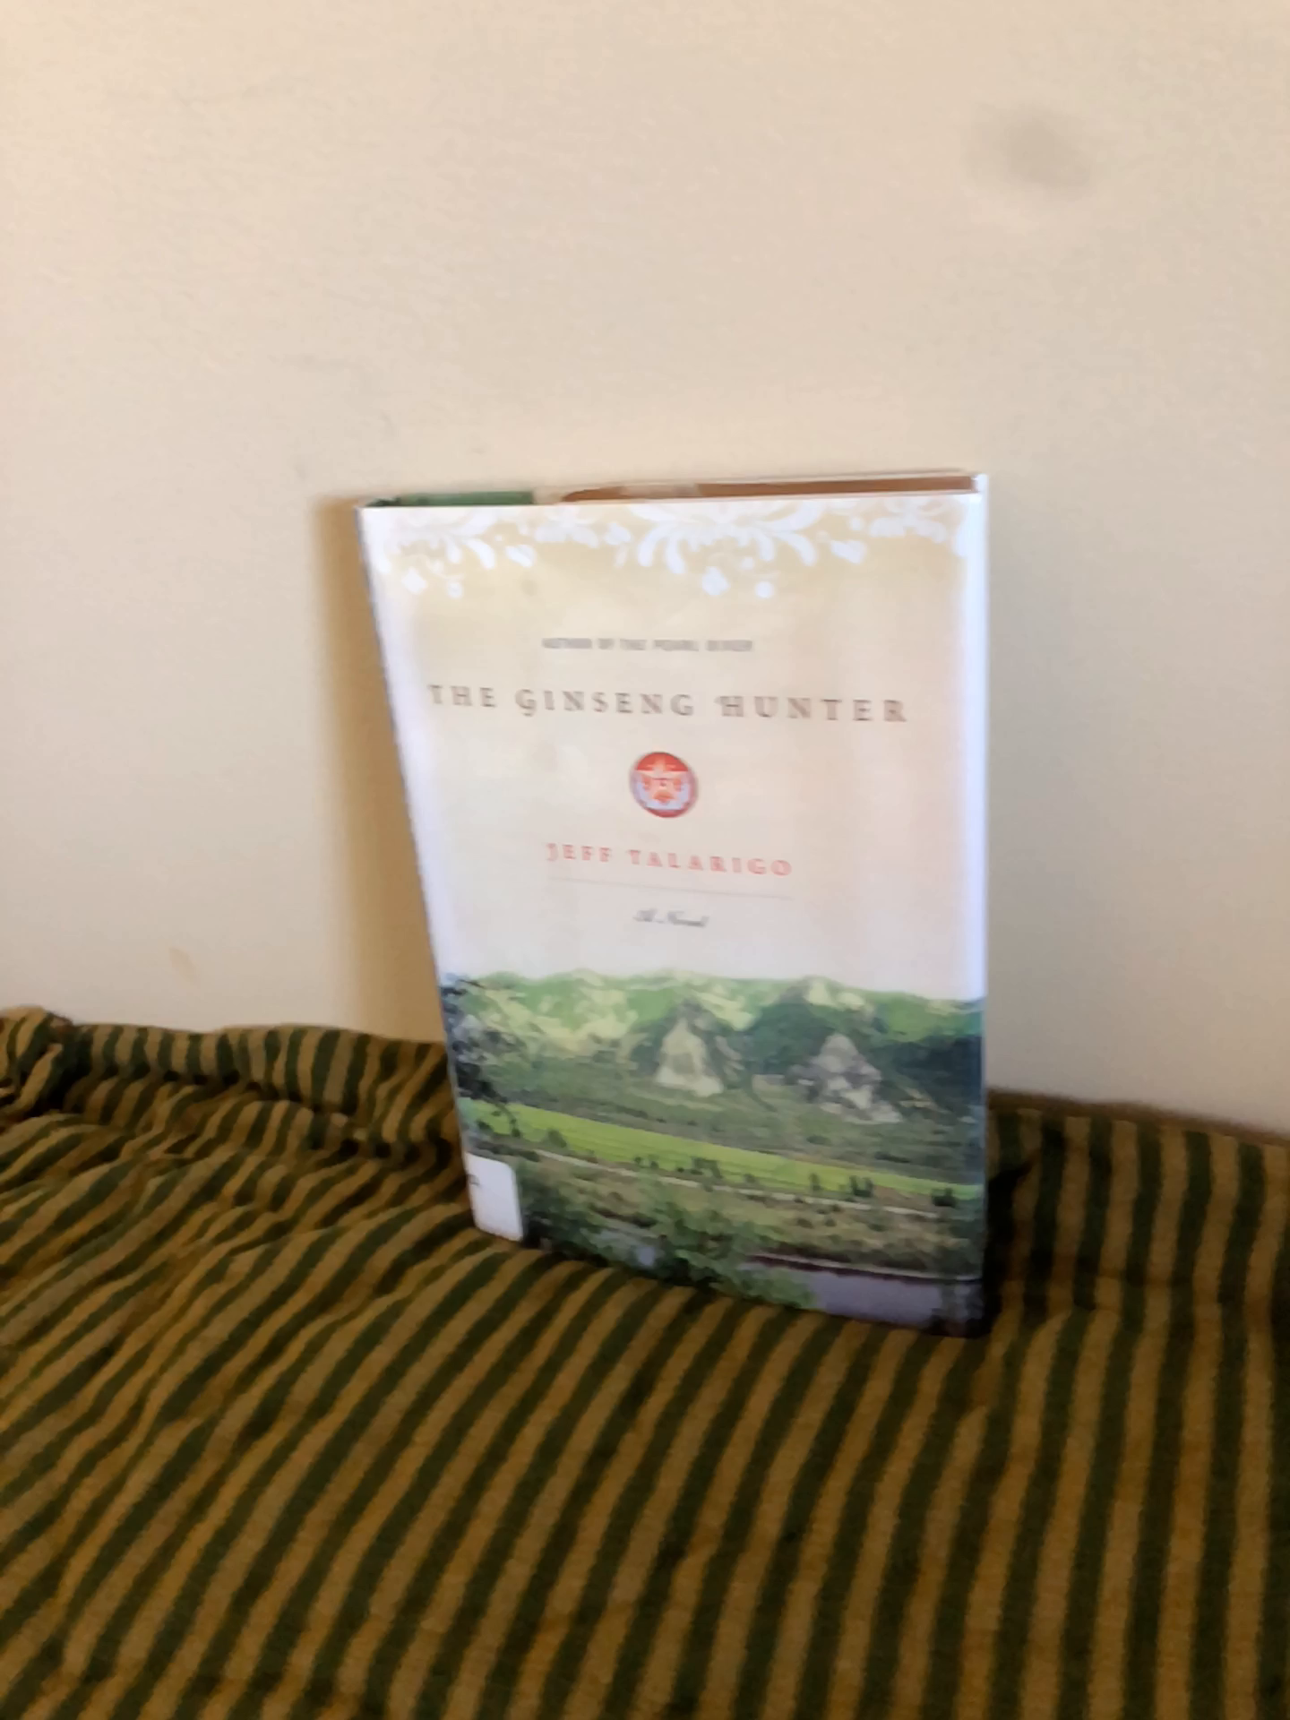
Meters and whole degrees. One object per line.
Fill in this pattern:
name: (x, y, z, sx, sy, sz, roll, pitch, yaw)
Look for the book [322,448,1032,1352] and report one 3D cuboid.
book: (0.012, 0.013, 0.327, 0.137, 0.203, 0.029, 5, 29, 19)
